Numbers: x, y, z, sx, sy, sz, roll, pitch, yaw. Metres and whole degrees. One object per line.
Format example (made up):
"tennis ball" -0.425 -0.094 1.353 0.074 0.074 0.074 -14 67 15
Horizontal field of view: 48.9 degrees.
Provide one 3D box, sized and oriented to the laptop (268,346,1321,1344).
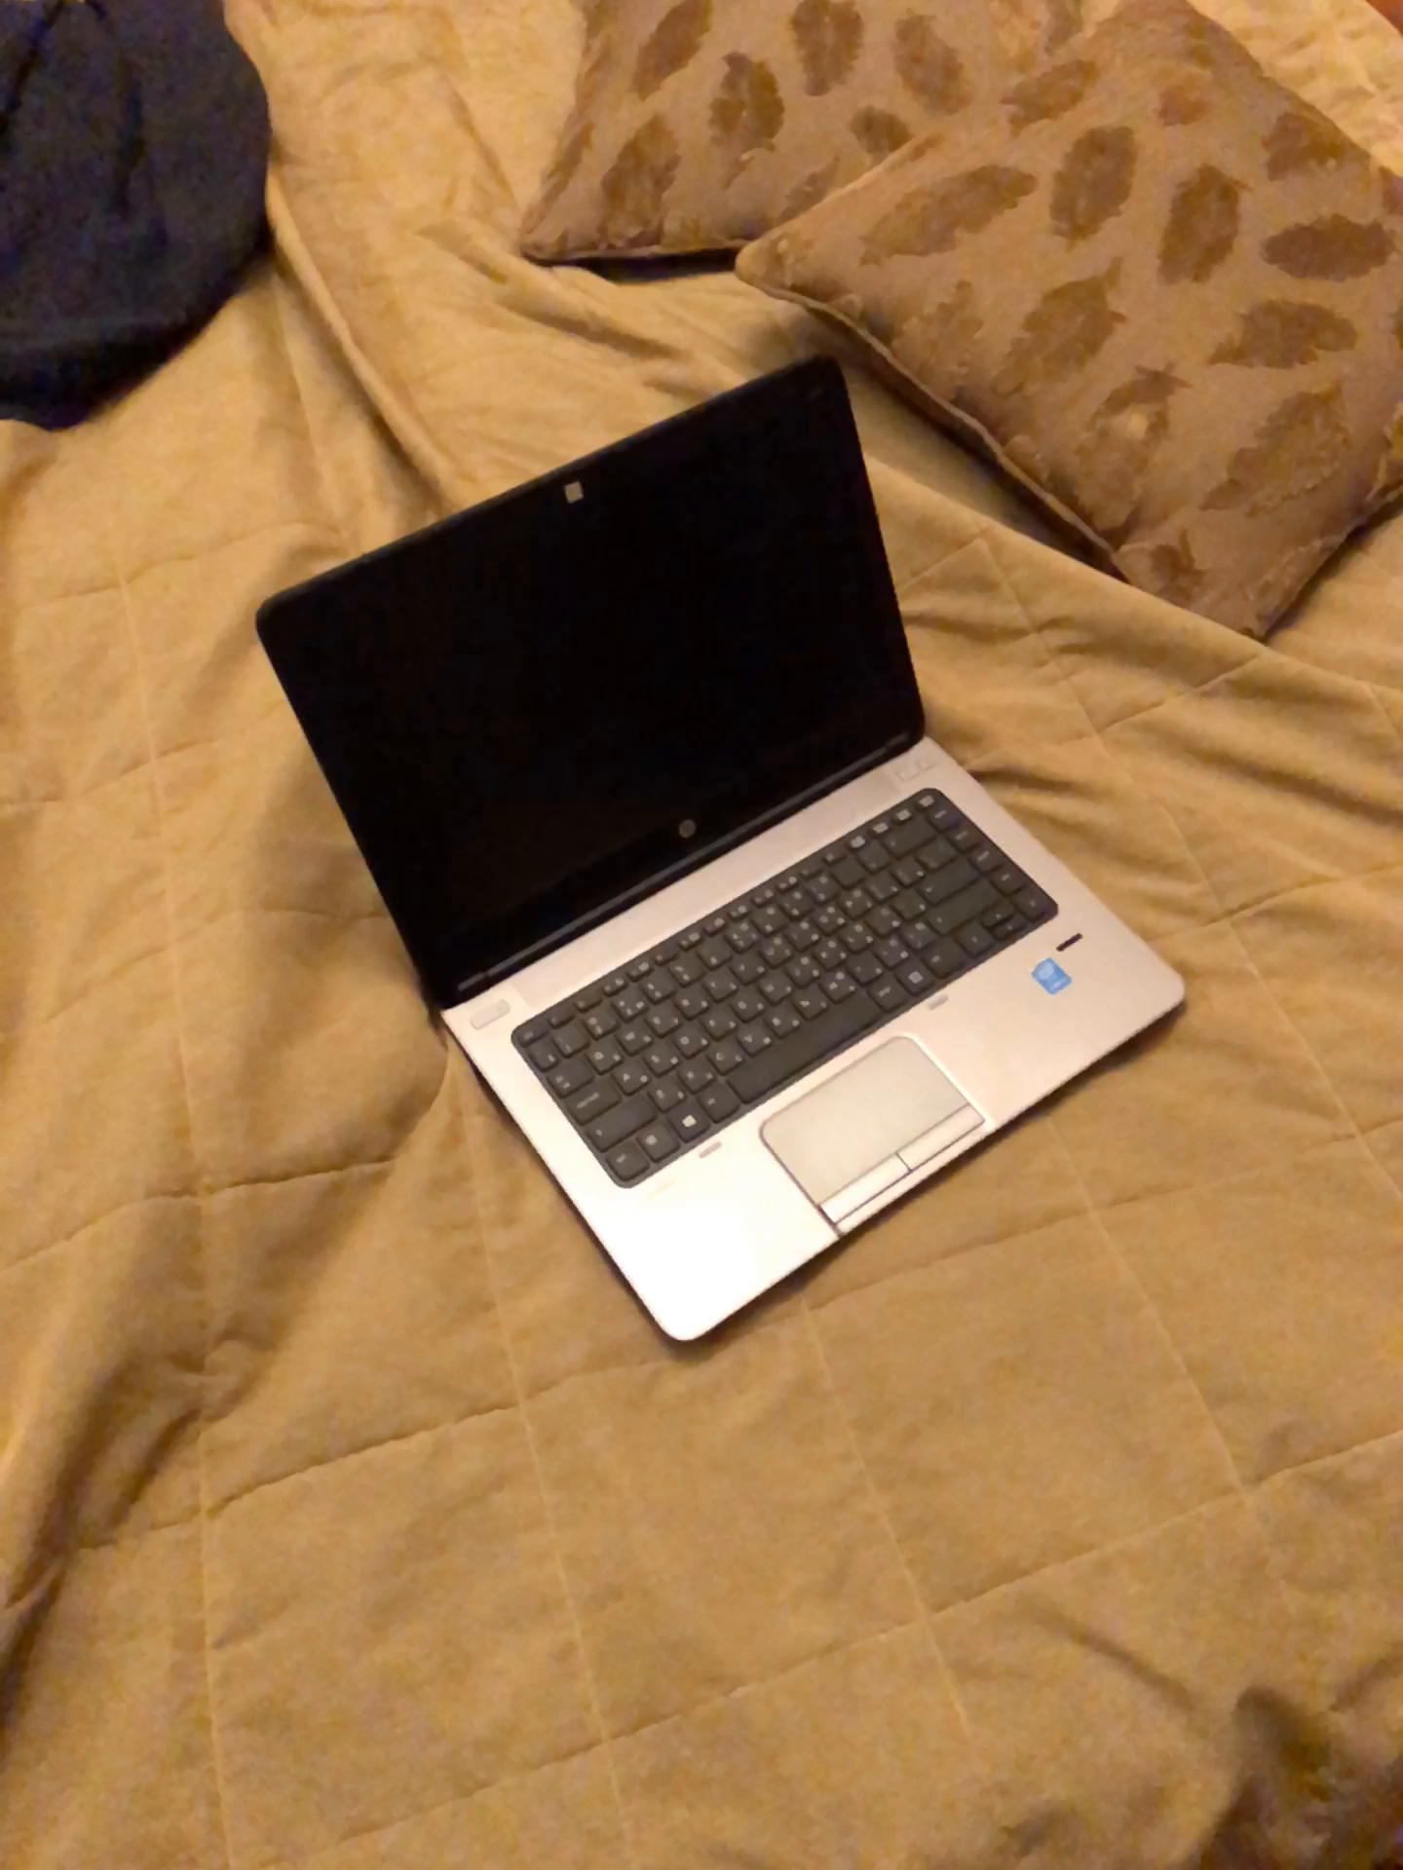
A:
"laptop" 0.031 -0.060 0.764 0.333 0.189 0.339 -31 62 -18
